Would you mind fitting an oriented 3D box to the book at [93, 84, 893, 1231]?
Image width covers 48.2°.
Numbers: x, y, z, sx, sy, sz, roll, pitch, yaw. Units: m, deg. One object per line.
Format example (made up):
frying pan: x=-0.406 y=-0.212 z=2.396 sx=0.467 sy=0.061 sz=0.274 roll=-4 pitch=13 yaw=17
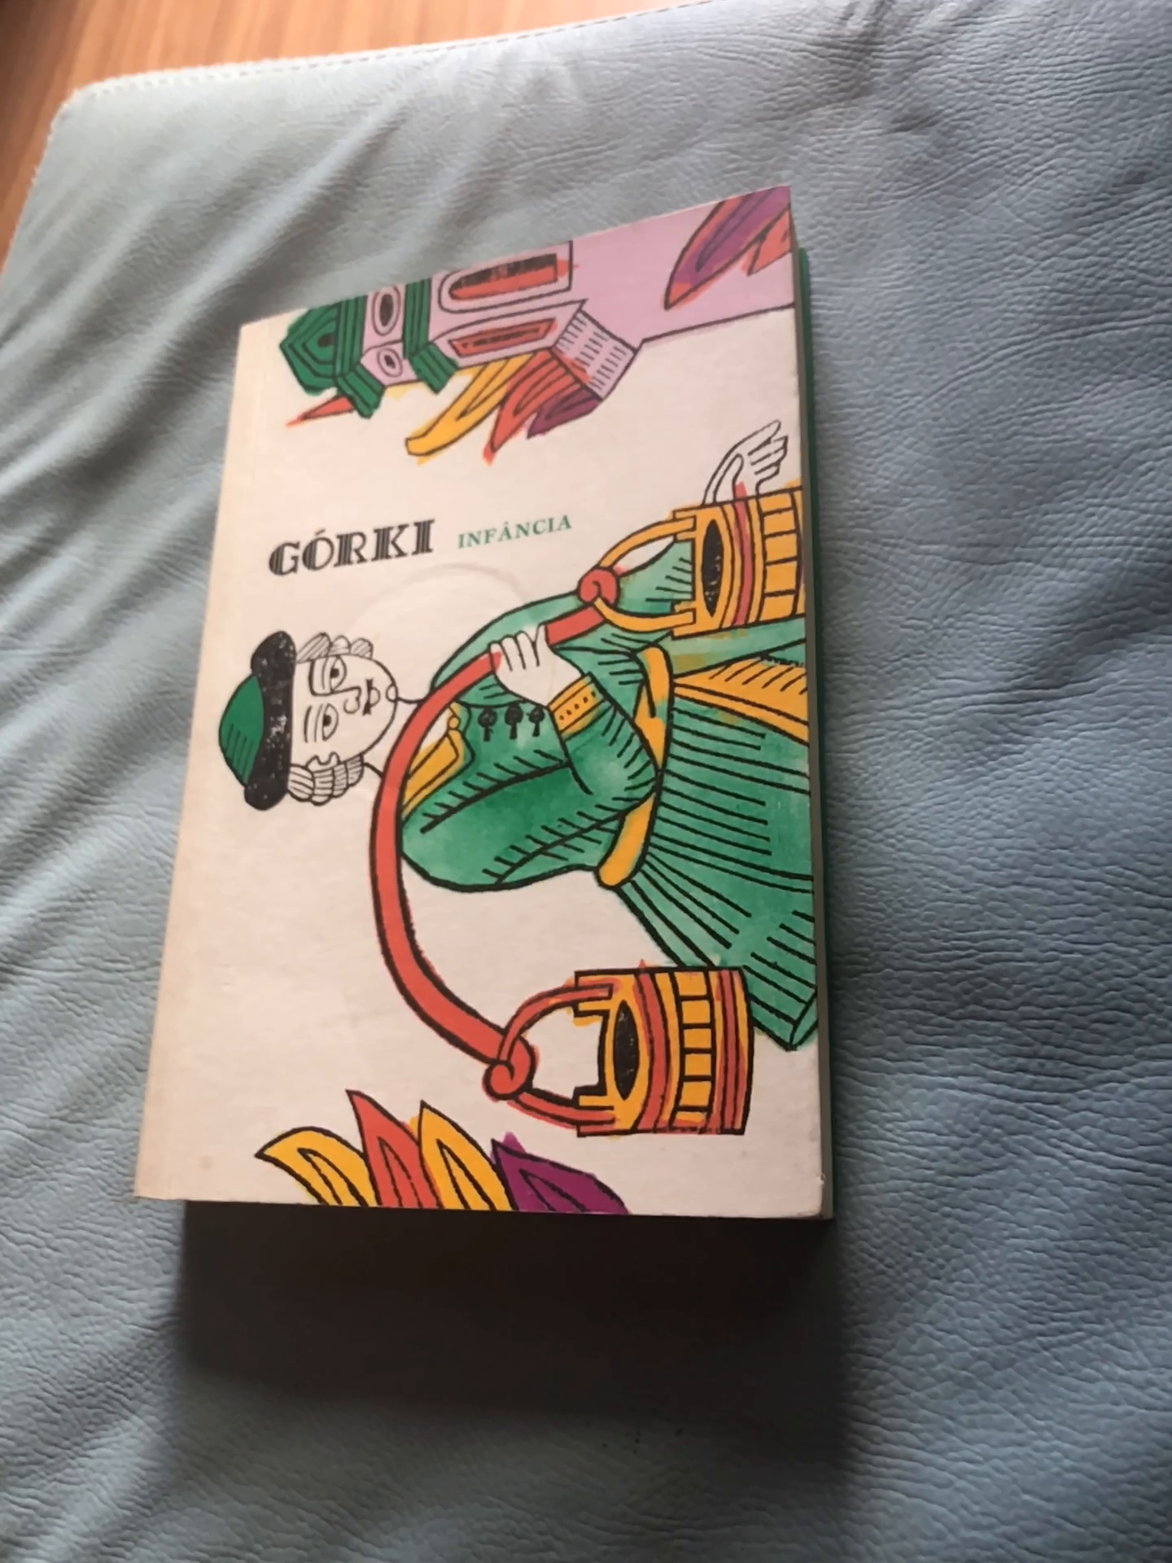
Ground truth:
book: x=-0.017 y=-0.023 z=0.246 sx=0.130 sy=0.030 sz=0.200 roll=-6 pitch=71 yaw=20
